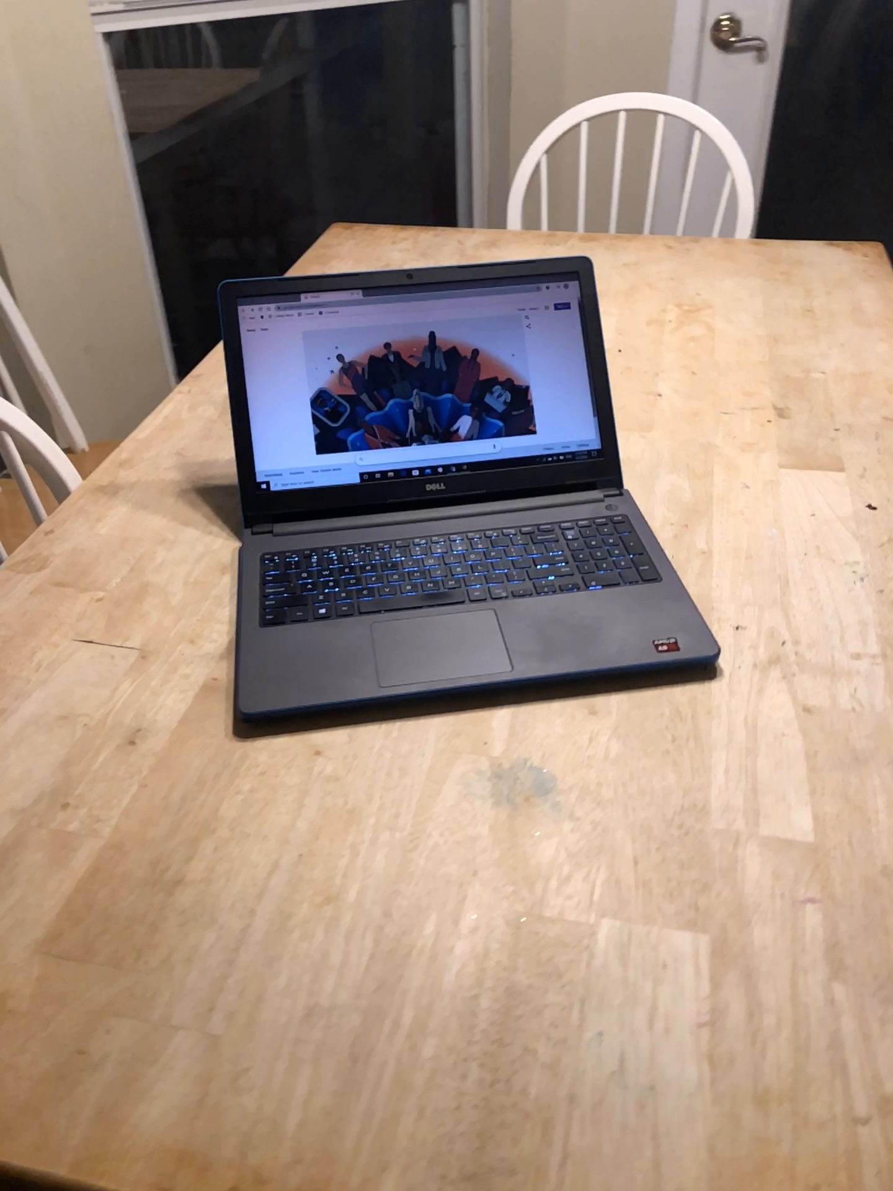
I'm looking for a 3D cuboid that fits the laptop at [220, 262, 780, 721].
[{"bbox_3d":[0.008,-0.122,0.848,0.366,0.174,0.421,-7,37,-6],"label":"laptop"}]
